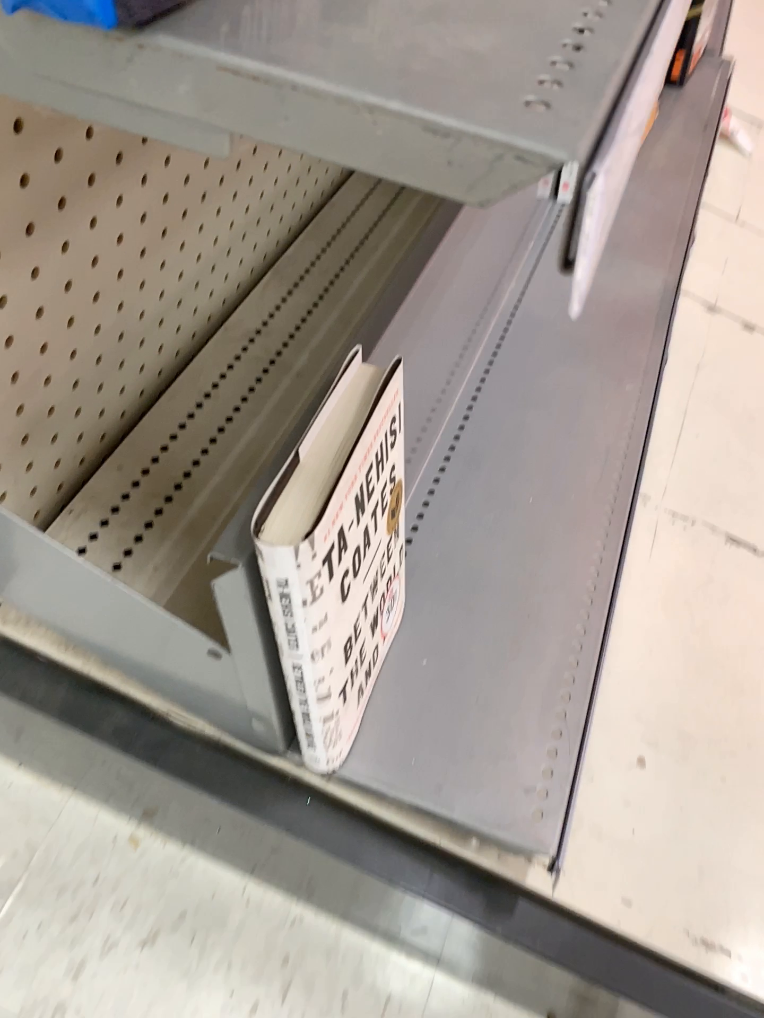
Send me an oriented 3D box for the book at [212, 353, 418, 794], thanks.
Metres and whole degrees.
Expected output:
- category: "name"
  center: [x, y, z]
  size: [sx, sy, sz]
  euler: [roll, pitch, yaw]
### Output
- category: "book"
  center: [-0.020, 0.039, 0.390]
  size: [0.030, 0.187, 0.130]
  euler: [12, 50, 16]
